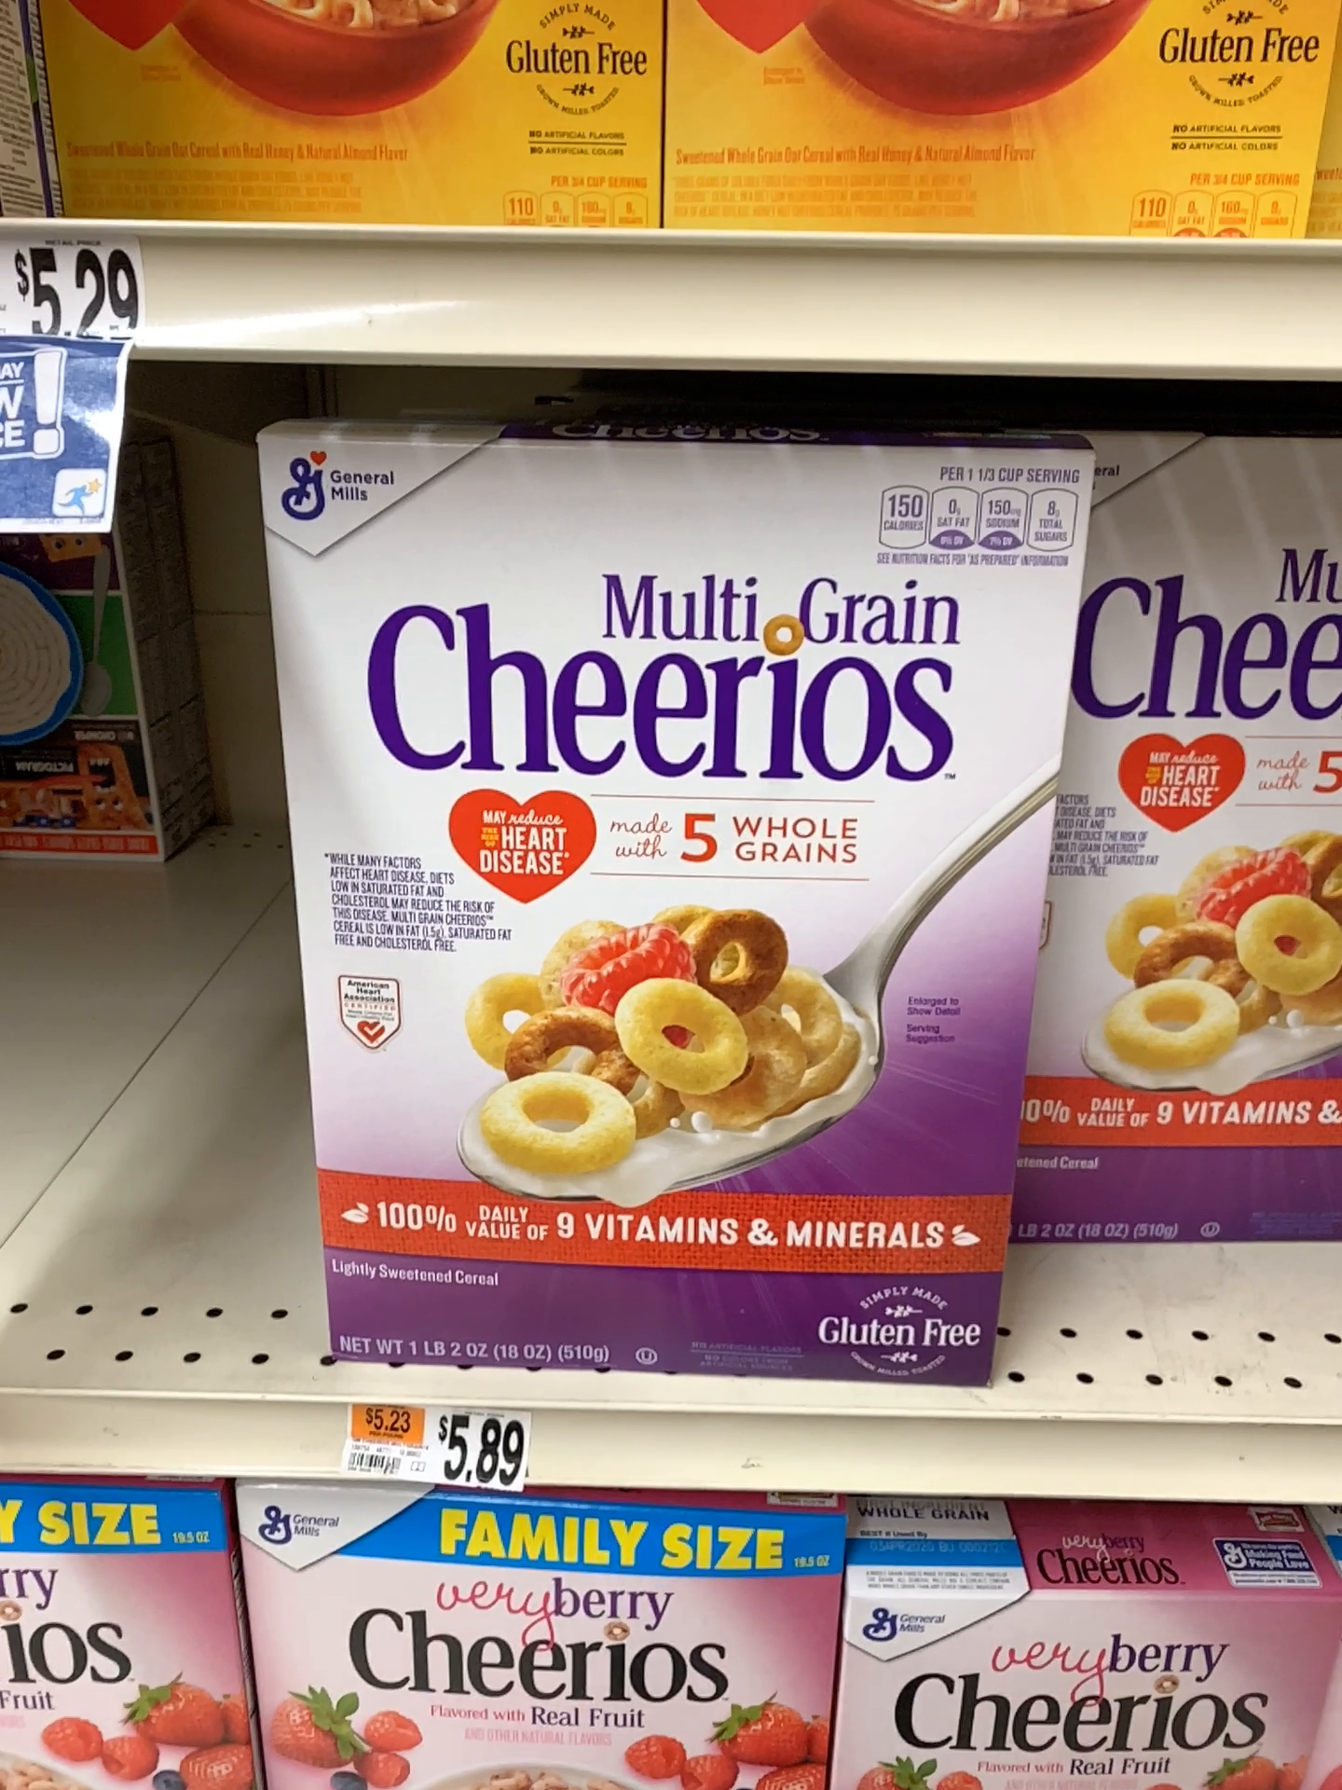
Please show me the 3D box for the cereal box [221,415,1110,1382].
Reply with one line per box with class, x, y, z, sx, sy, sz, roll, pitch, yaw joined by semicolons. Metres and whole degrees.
cereal box;-0.004;0.007;0.472;0.250;0.319;0.070;2;19;2
